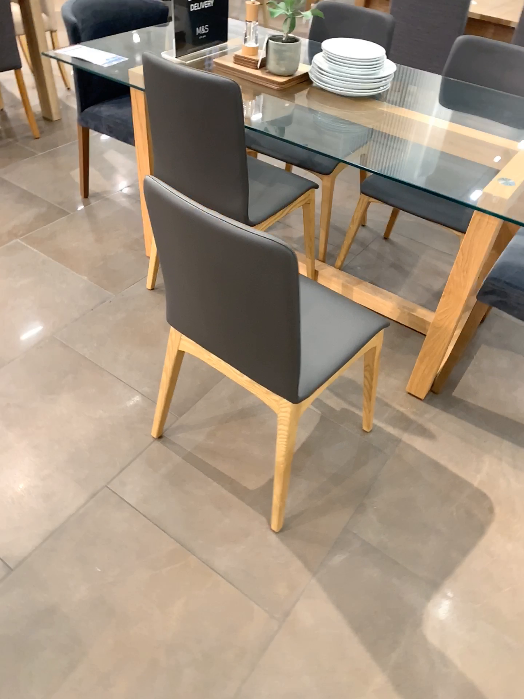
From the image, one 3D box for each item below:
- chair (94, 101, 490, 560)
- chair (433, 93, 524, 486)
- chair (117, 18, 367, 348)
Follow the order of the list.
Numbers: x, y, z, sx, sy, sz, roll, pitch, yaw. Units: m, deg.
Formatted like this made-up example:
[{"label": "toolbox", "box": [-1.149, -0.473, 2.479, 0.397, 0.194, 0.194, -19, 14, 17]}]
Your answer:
[{"label": "chair", "box": [0.047, -0.047, 1.311, 0.564, 0.813, 0.540, 31, 49, 25]}, {"label": "chair", "box": [0.974, -0.172, 1.536, 0.587, 0.813, 0.546, 25, 47, 20]}, {"label": "chair", "box": [-0.073, -0.555, 1.808, 0.524, 0.833, 0.500, 28, 48, 23]}]
